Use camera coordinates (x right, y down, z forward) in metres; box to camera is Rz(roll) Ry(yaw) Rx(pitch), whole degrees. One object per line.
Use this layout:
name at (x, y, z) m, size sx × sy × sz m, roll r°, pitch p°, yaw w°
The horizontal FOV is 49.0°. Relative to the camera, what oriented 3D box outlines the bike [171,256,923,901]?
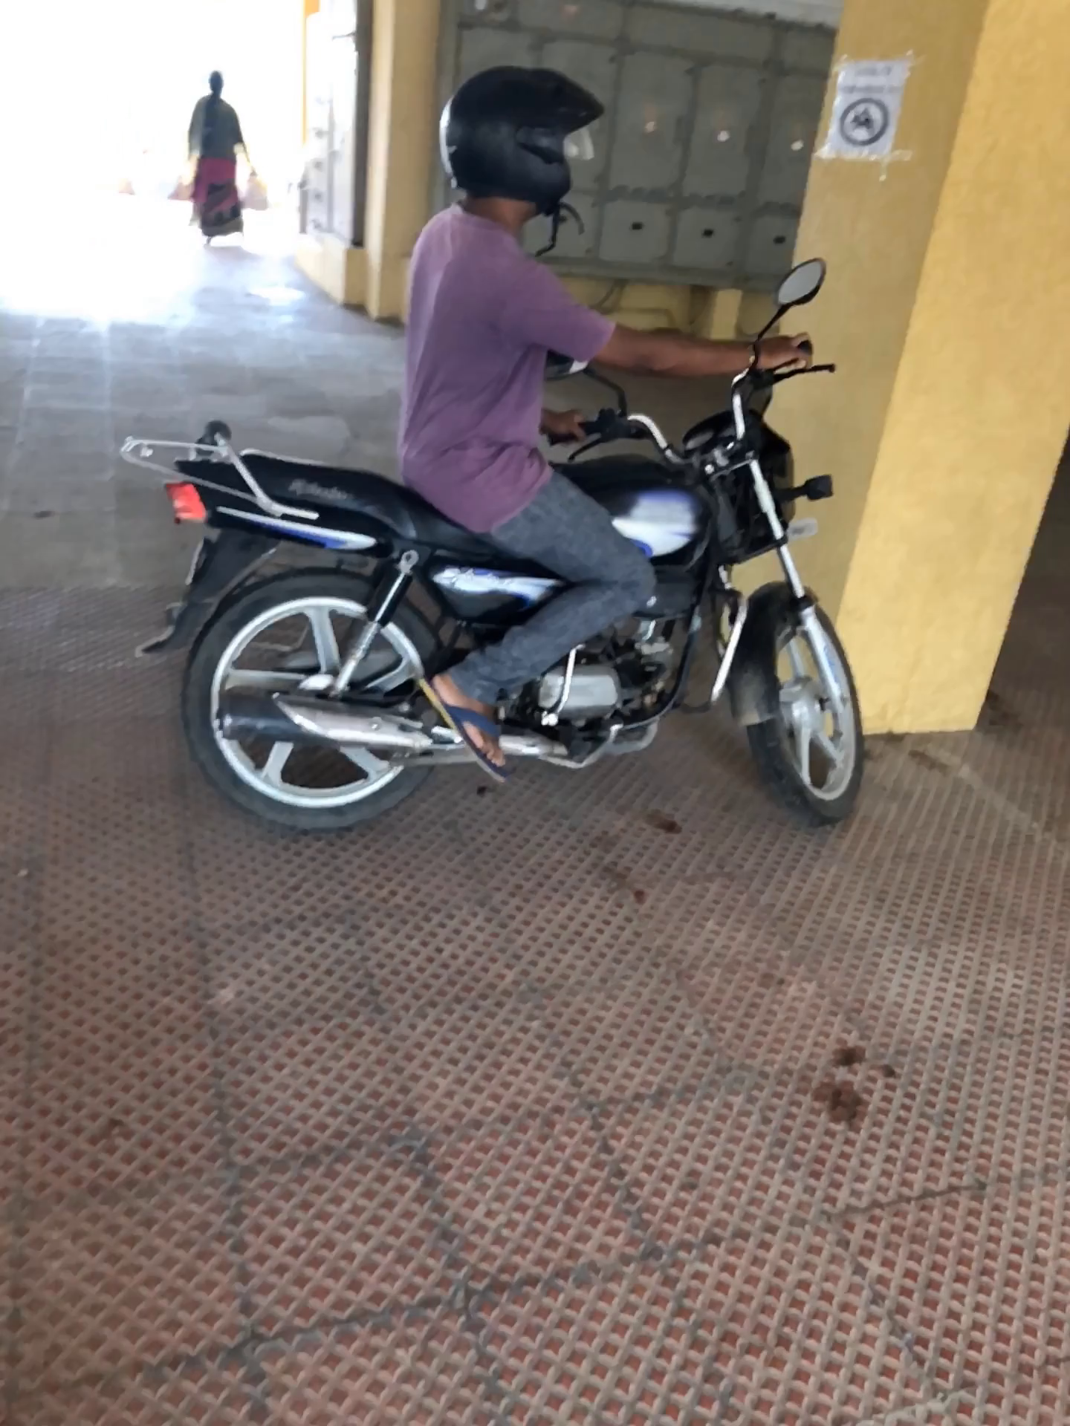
bike at (-0.057, -0.316, 2.835) m, size 1.543 × 1.194 × 0.770 m, roll -1°, pitch 28°, yaw -20°
